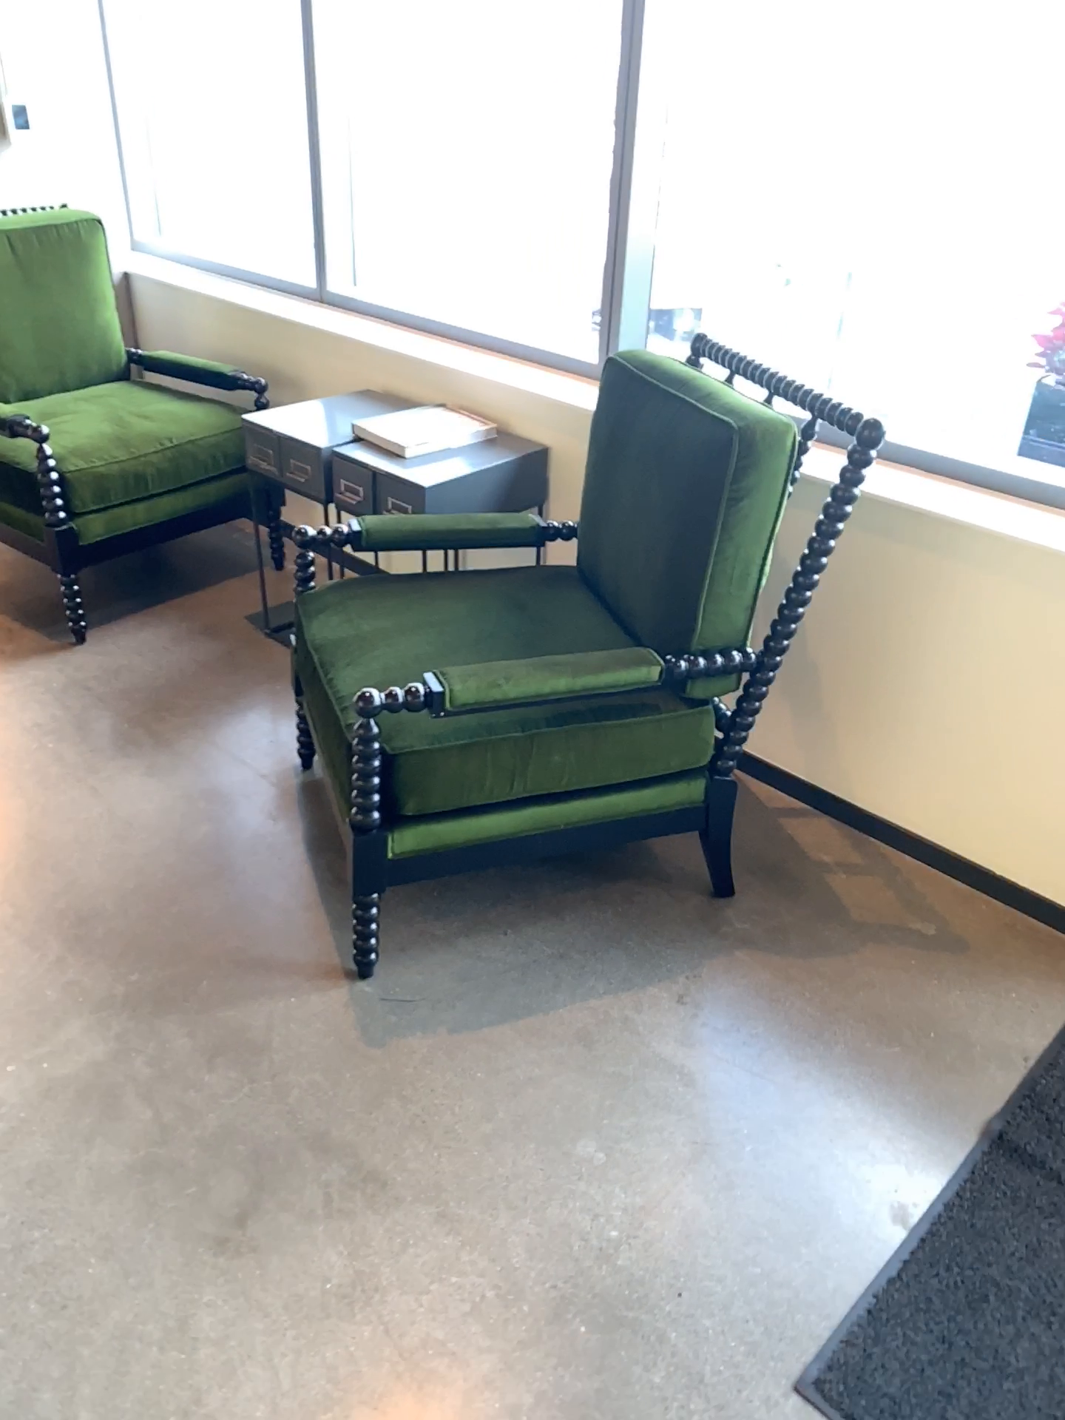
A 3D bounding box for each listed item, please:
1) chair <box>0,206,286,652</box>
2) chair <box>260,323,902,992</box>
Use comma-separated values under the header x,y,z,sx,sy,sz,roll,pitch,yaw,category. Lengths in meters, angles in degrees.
x,y,z,sx,sy,sz,roll,pitch,yaw,category
-1.354,-0.880,3.190,0.923,0.974,0.732,24,37,31,chair
0.012,-0.162,2.147,0.920,0.984,0.765,-8,32,-17,chair
